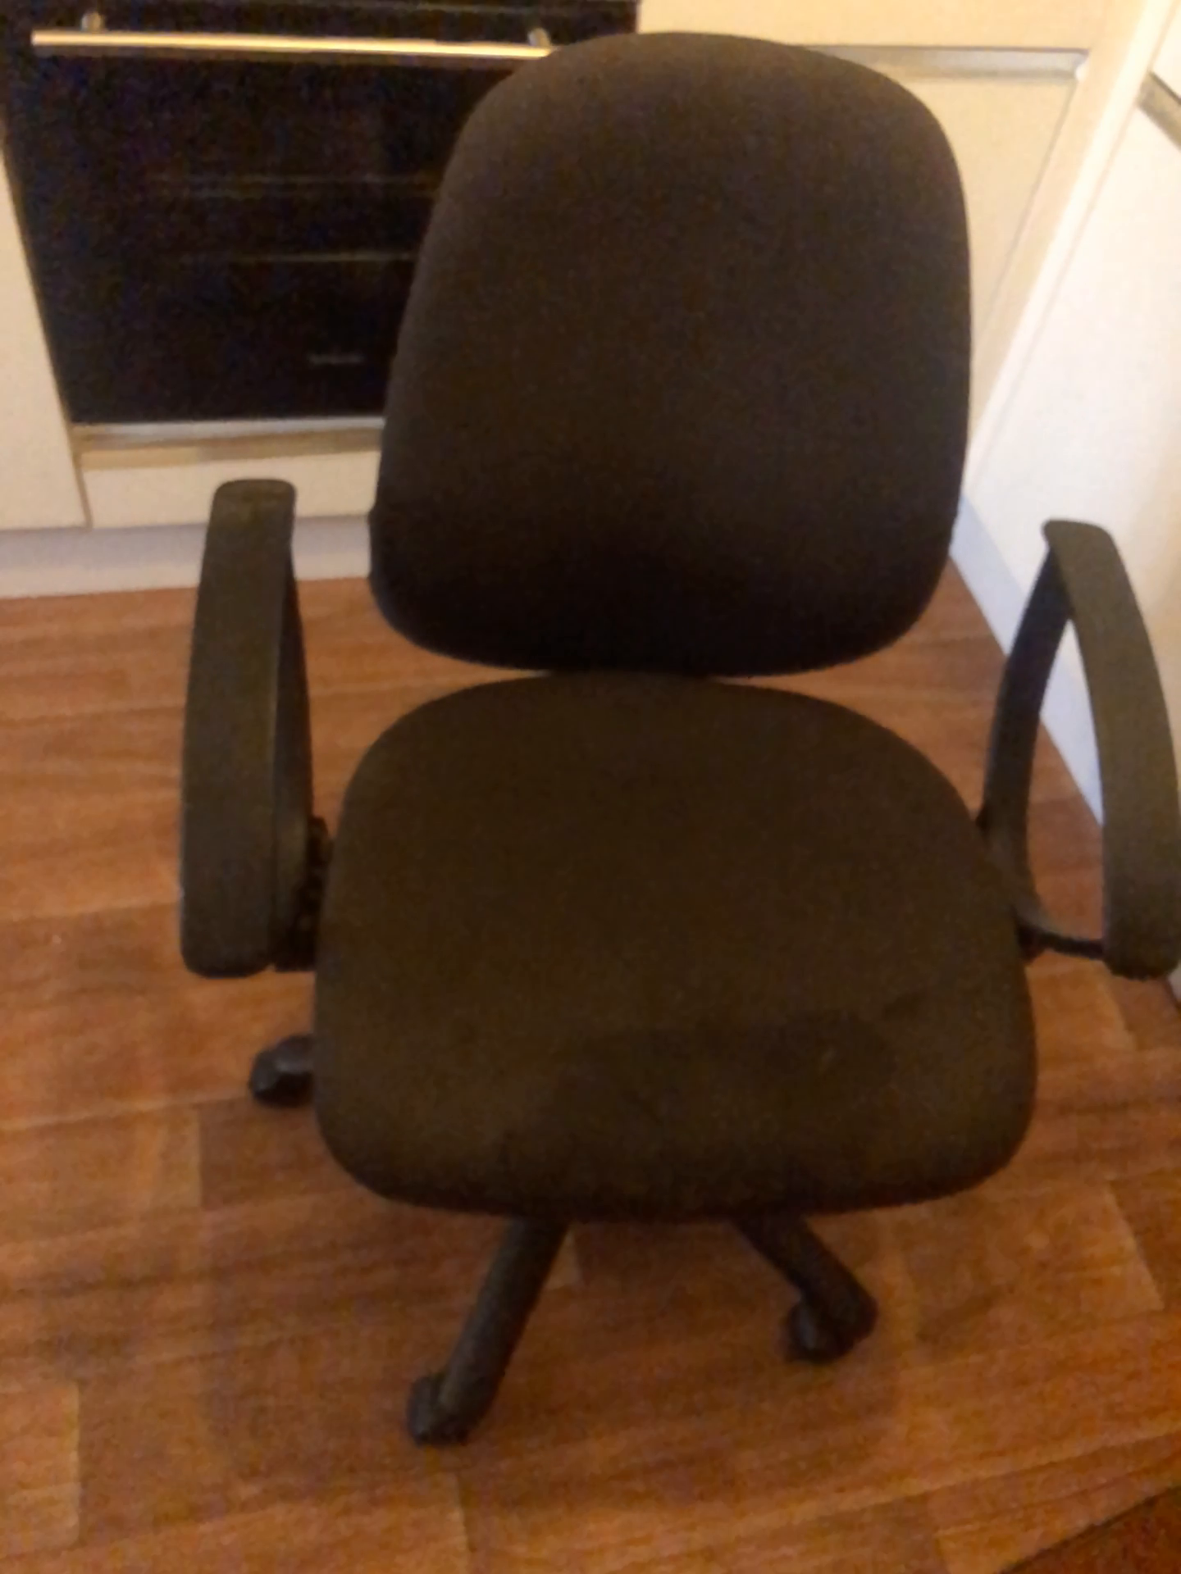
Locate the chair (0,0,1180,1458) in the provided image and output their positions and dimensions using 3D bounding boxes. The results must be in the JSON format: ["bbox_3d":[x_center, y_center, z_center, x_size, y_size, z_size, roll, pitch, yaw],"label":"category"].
[{"bbox_3d":[0.054,0.031,0.957,0.673,0.816,0.655,4,51,-6],"label":"chair"}]
